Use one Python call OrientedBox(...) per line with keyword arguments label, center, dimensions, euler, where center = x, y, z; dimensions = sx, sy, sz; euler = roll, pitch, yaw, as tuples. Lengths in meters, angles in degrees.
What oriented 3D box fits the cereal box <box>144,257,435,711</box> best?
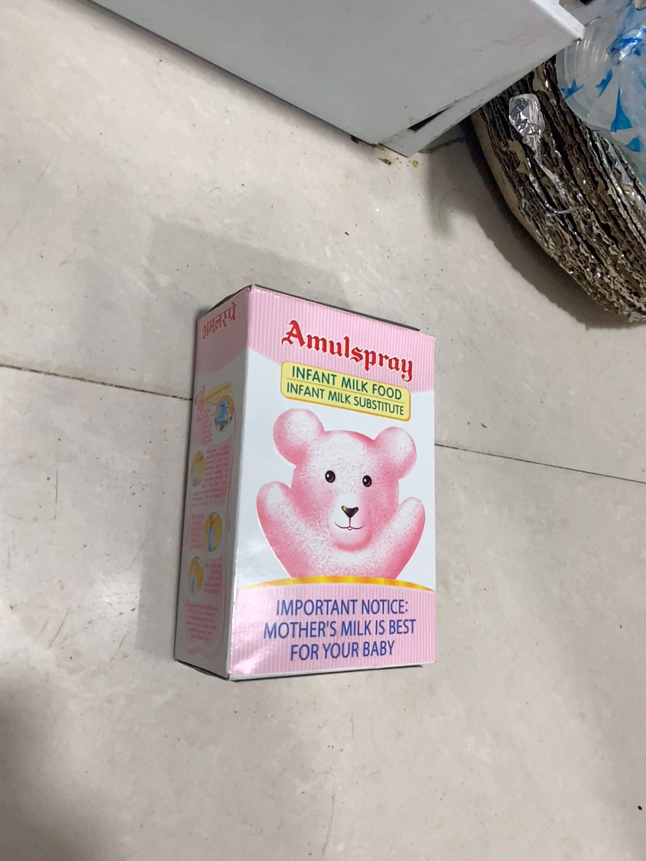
OrientedBox(label="cereal box", center=(-0.009, 0.021, 0.250), dimensions=(0.090, 0.050, 0.140), euler=(9, 76, -33))
